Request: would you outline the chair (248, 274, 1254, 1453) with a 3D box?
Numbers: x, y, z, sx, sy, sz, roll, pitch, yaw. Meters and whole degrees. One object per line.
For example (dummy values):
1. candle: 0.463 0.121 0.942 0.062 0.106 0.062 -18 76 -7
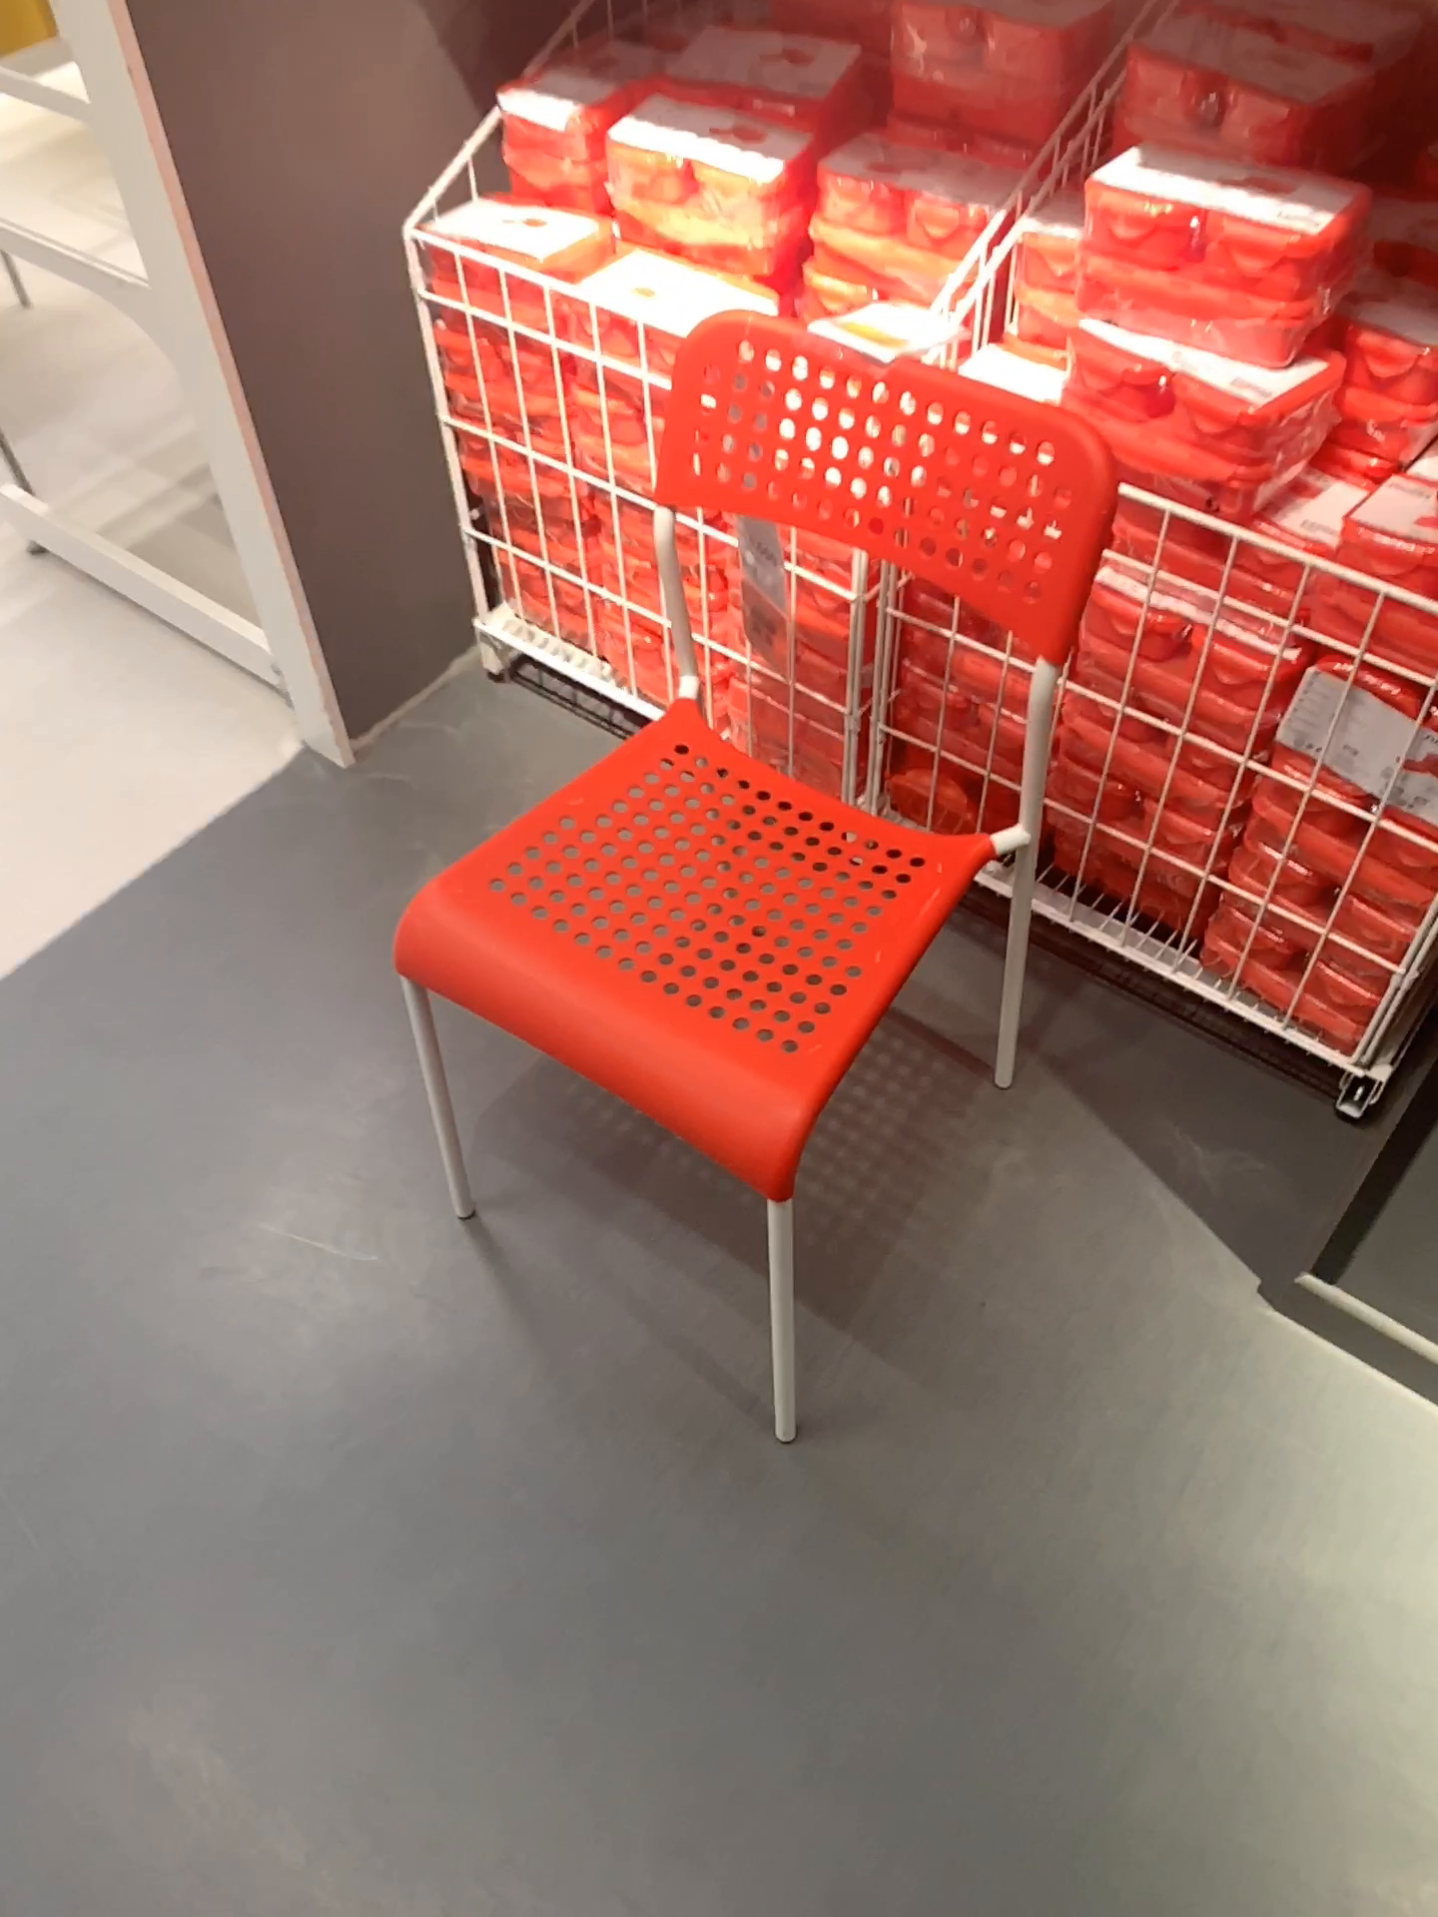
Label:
1. chair: 0.040 -0.047 1.144 0.411 0.688 0.461 29 57 24
